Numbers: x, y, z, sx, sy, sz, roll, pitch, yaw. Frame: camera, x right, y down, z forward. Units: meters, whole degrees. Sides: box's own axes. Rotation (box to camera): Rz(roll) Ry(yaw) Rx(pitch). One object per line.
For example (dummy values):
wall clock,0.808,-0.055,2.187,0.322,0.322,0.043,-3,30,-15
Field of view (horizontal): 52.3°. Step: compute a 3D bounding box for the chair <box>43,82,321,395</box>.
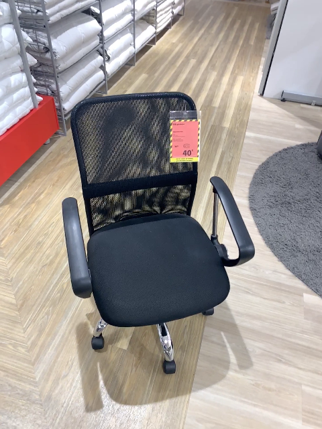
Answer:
chair,0.000,0.096,1.171,0.640,0.866,0.603,-8,45,-12
